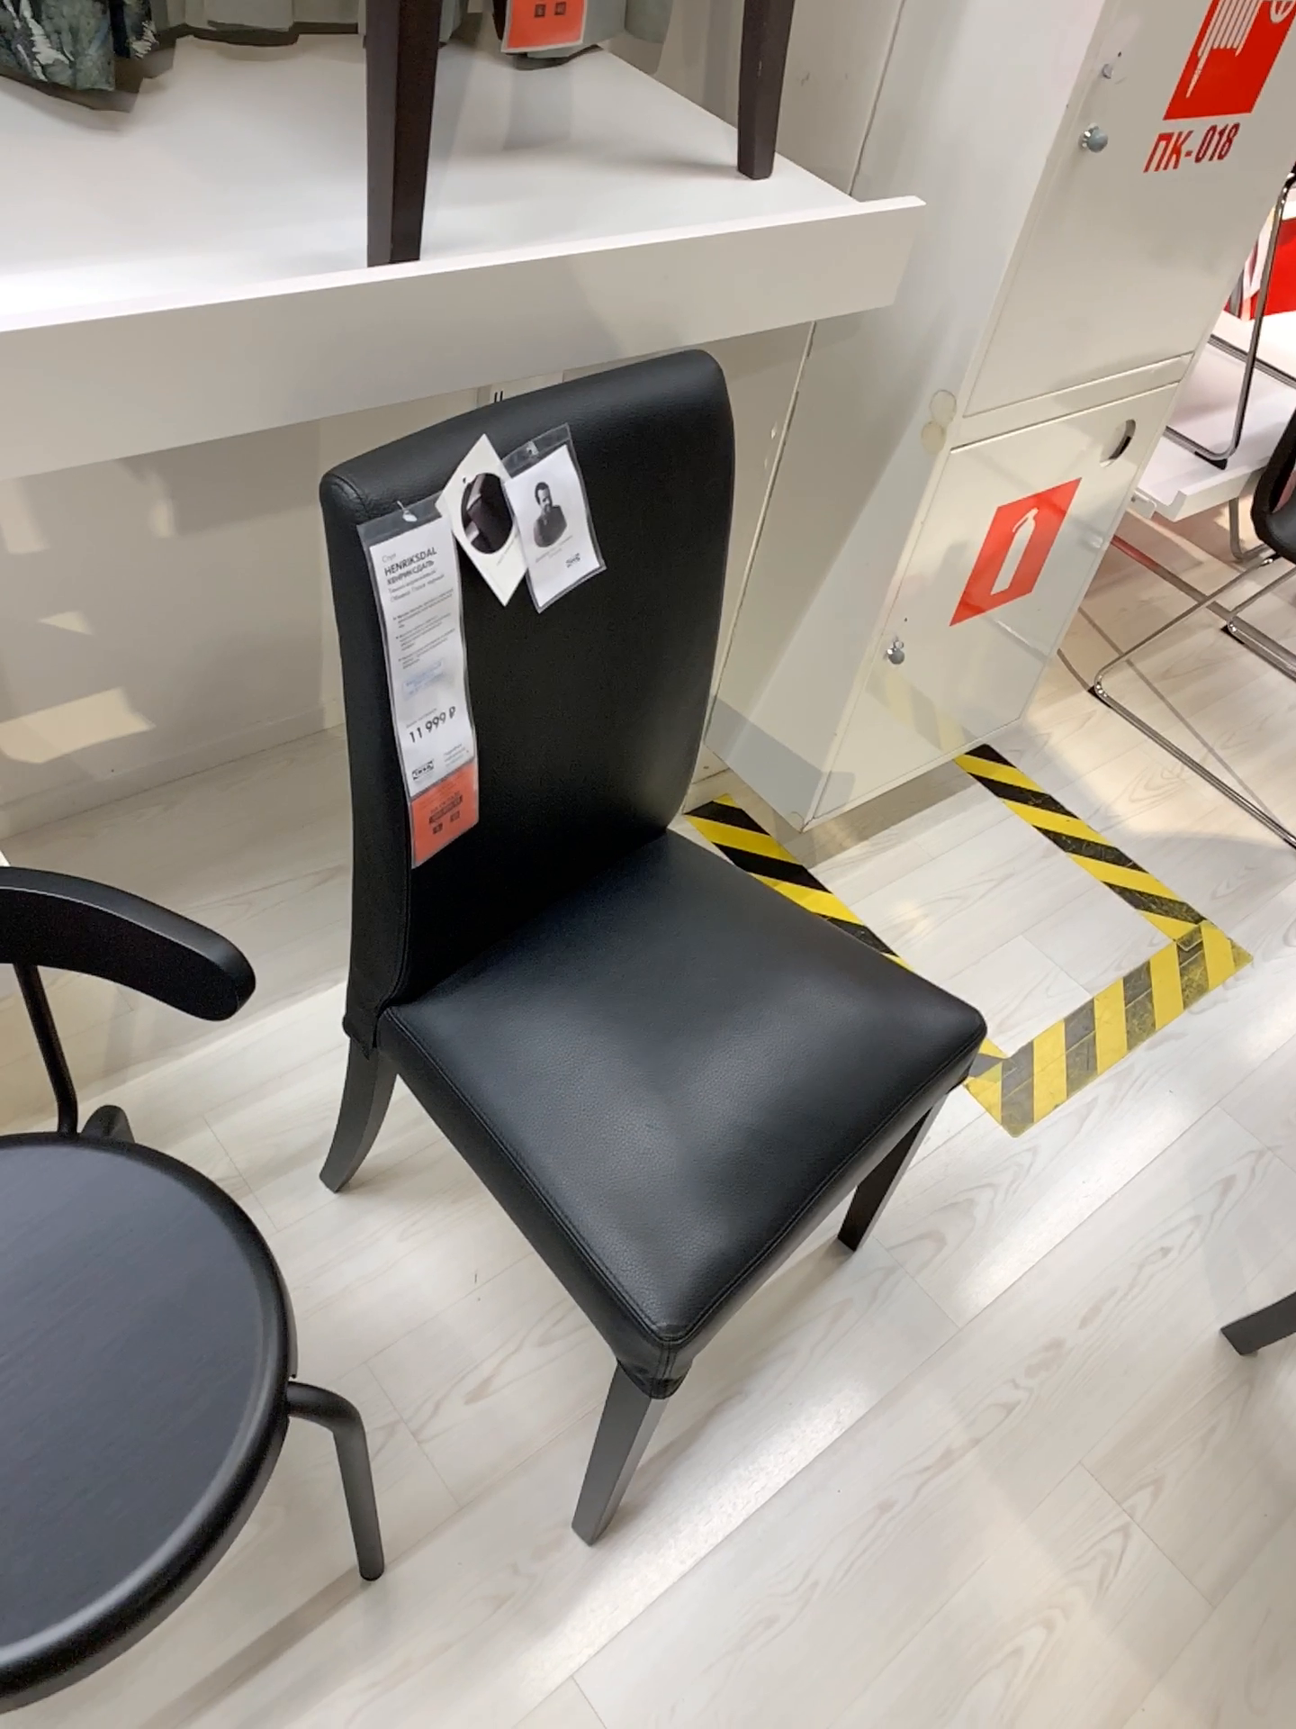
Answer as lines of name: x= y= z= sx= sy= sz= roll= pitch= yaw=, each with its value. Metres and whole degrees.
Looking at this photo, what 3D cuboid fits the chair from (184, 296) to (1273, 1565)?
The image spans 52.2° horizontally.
chair: x=0.000 y=0.090 z=1.325 sx=0.601 sy=0.975 sz=0.582 roll=37 pitch=49 yaw=22
